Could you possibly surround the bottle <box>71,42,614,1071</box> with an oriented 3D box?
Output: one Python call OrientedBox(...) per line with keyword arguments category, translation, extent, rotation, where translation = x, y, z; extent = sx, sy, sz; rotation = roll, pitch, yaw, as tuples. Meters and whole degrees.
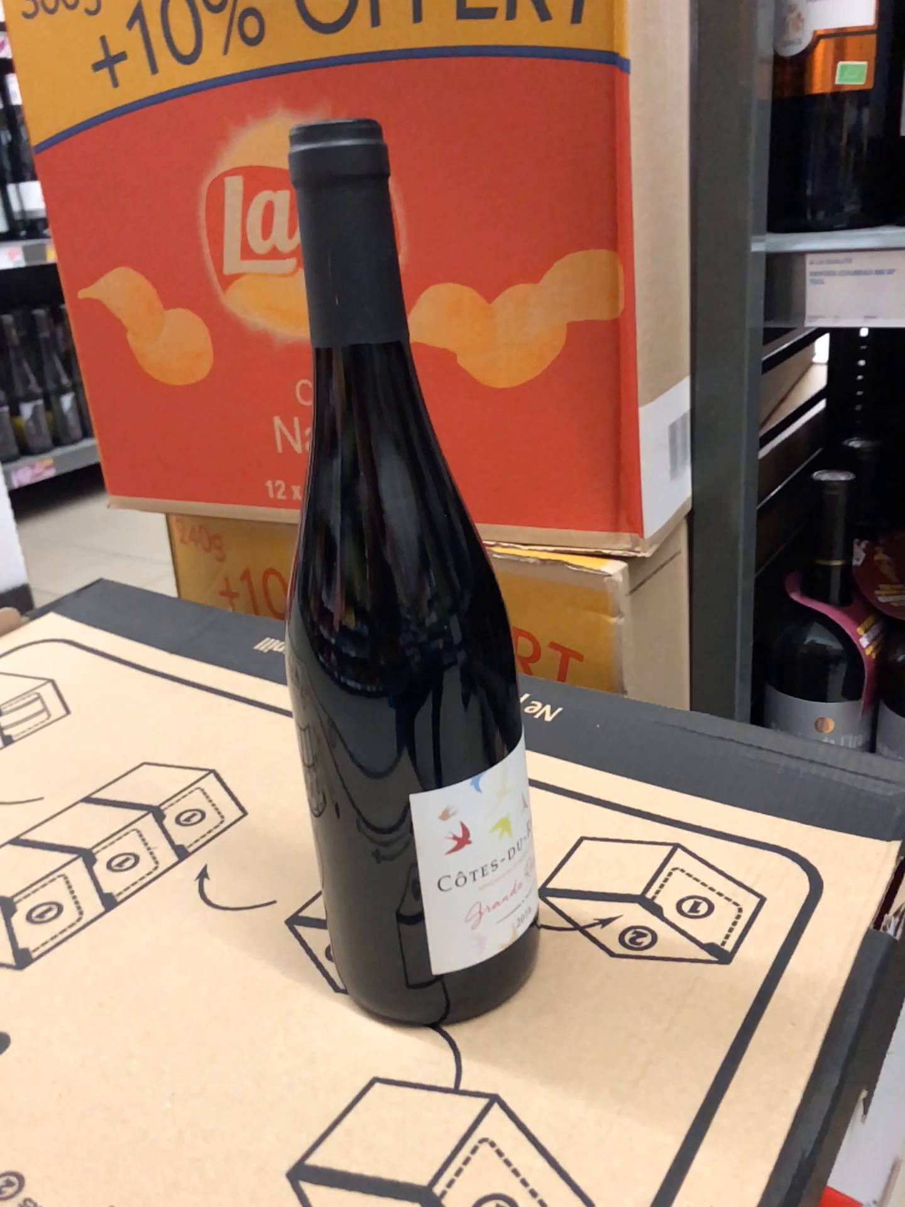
OrientedBox(category="bottle", translation=(-0.018, -0.008, 0.327), extent=(0.090, 0.289, 0.101), rotation=(4, 24, 30))
